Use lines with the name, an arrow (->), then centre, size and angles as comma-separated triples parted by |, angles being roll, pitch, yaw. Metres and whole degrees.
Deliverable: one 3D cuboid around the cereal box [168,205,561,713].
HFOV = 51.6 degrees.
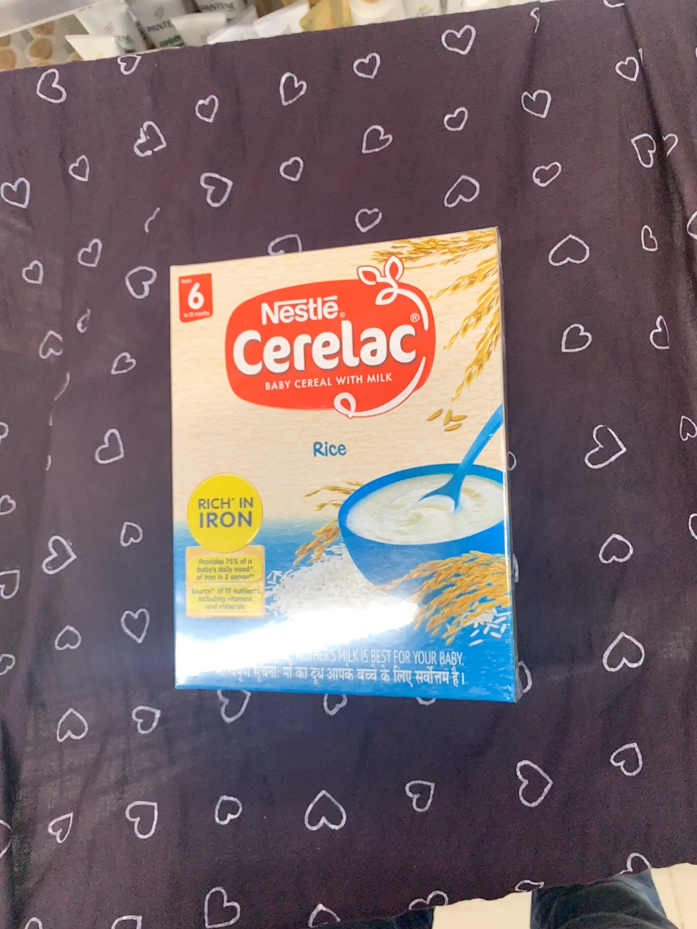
cereal box -> 0.004, 0.001, 0.320 | 0.160, 0.040, 0.200 | -3, 85, 14
